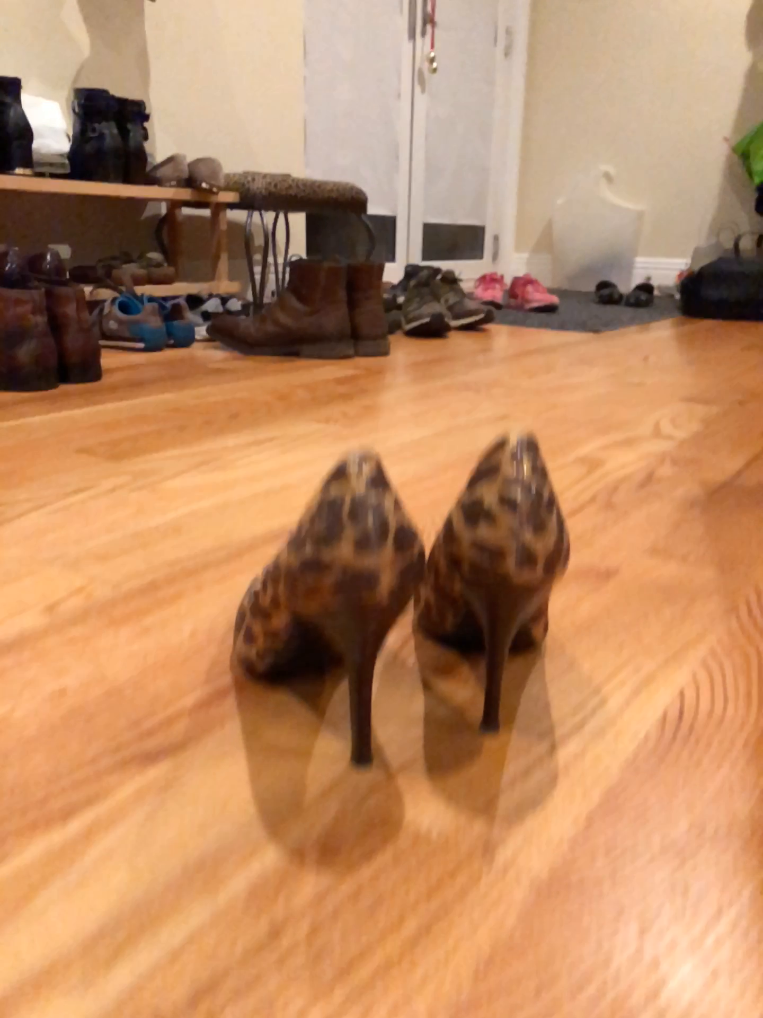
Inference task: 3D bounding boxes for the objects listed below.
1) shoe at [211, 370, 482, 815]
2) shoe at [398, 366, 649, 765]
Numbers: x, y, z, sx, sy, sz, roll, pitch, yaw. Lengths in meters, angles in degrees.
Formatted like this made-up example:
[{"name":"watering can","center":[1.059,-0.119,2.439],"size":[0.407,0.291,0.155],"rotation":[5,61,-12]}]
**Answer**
[{"name":"shoe","center":[-0.033,0.018,0.427],"size":[0.084,0.144,0.219],"rotation":[-3,18,-15]},{"name":"shoe","center":[0.059,0.011,0.456],"size":[0.083,0.144,0.219],"rotation":[1,18,-2]}]
